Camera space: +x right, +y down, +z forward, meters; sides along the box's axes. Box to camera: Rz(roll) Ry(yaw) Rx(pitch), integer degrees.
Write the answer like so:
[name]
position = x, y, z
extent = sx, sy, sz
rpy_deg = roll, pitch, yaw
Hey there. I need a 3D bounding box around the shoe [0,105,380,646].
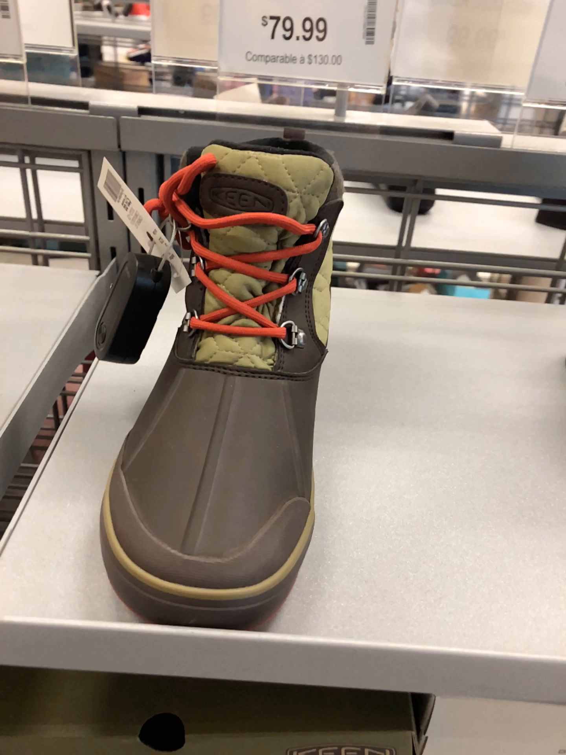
[shoe]
position = -0.027, -0.032, 0.311
extent = 0.107, 0.139, 0.262
rpy_deg = 5, 33, 0
